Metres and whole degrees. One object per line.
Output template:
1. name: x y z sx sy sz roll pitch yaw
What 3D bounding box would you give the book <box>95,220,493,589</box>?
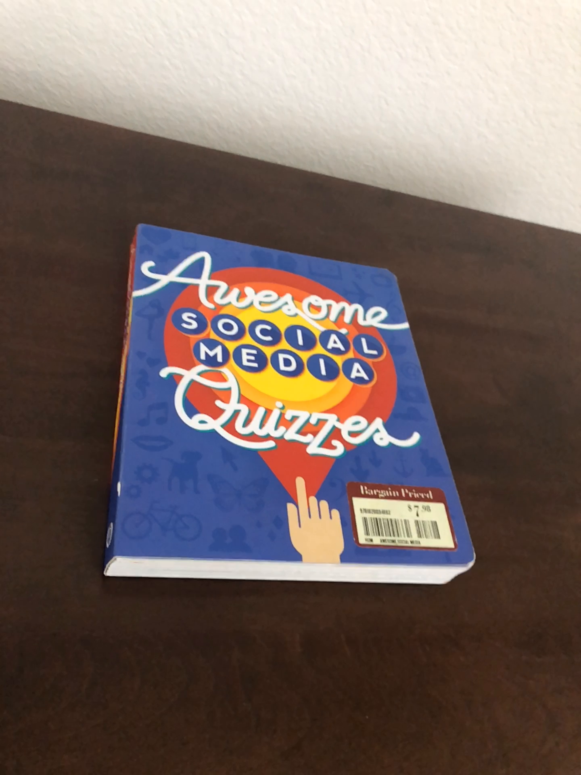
1. book: -0.002 0.001 0.336 0.172 0.020 0.201 7 51 -17
